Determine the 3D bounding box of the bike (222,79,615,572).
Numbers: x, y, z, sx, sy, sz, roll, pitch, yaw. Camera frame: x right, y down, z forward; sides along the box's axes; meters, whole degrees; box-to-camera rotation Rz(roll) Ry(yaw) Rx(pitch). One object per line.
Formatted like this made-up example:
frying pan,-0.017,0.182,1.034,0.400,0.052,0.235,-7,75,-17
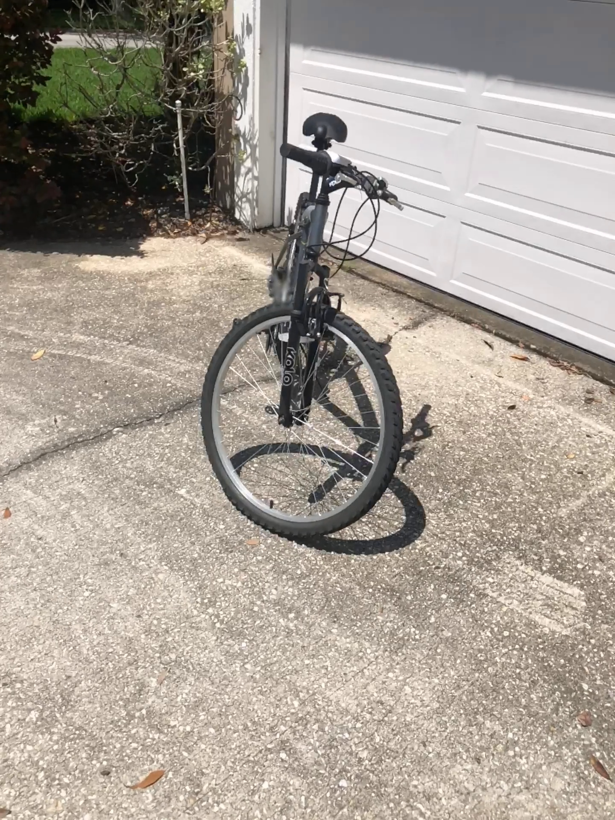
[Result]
bike,0.141,-0.416,2.284,0.679,0.979,1.540,-3,35,-10
